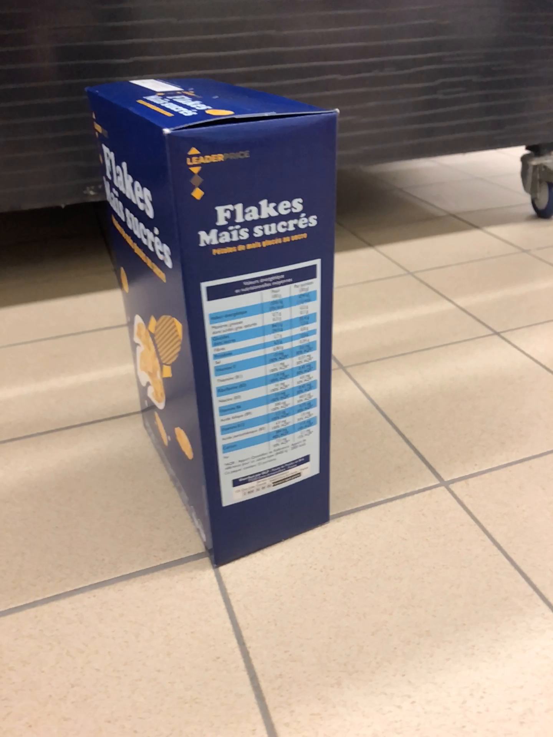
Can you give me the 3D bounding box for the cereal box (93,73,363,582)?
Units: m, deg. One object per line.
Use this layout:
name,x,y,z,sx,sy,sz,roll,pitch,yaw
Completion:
cereal box,-0.039,-0.041,0.458,0.100,0.308,0.211,-15,32,-20
